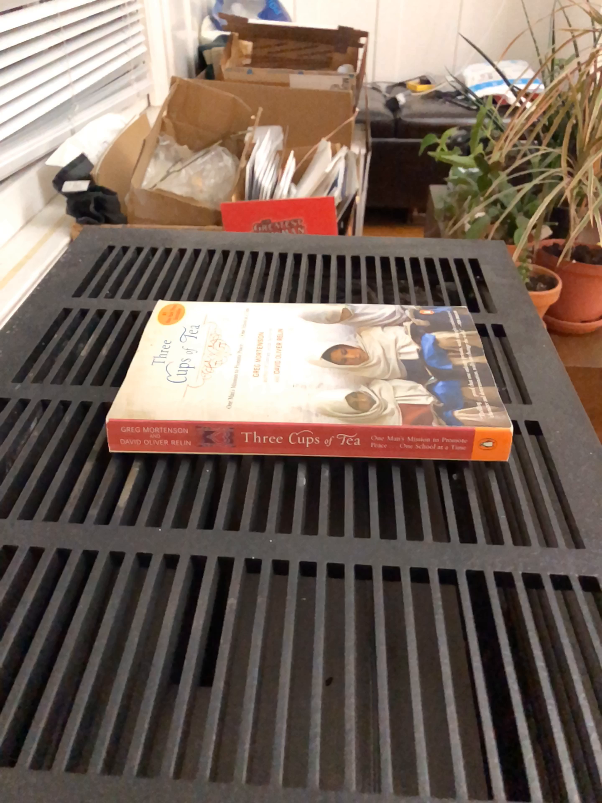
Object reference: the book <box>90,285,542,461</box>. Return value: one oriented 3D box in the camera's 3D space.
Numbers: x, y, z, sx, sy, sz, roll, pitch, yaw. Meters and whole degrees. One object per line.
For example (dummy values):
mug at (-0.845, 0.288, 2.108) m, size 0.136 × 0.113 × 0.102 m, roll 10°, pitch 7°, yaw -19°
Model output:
book at (0.007, -0.023, 0.389) m, size 0.220 × 0.030 × 0.141 m, roll 0°, pitch 36°, yaw 0°
